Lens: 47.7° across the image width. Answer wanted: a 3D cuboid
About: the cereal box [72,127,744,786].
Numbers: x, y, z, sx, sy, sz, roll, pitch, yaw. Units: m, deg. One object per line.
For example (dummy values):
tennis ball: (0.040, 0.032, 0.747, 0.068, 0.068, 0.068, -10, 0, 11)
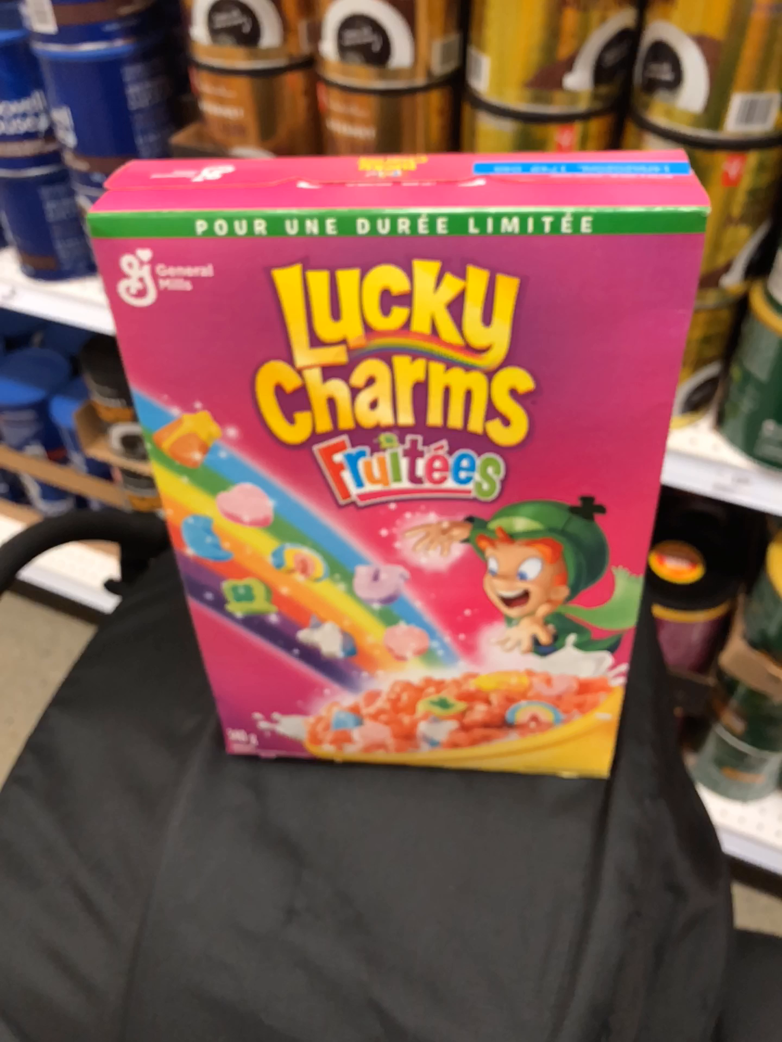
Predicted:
cereal box: (0.008, -0.004, 0.382, 0.200, 0.299, 0.060, 2, 40, 5)
